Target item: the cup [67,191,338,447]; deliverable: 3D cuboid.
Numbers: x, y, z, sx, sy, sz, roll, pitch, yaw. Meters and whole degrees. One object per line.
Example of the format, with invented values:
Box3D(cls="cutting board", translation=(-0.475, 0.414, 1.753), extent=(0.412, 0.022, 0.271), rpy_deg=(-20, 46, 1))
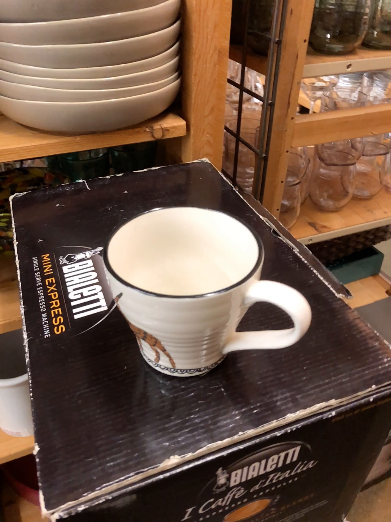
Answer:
Box3D(cls="cup", translation=(0.008, 0.028, 0.281), extent=(0.131, 0.084, 0.102), rpy_deg=(17, 39, 20))
